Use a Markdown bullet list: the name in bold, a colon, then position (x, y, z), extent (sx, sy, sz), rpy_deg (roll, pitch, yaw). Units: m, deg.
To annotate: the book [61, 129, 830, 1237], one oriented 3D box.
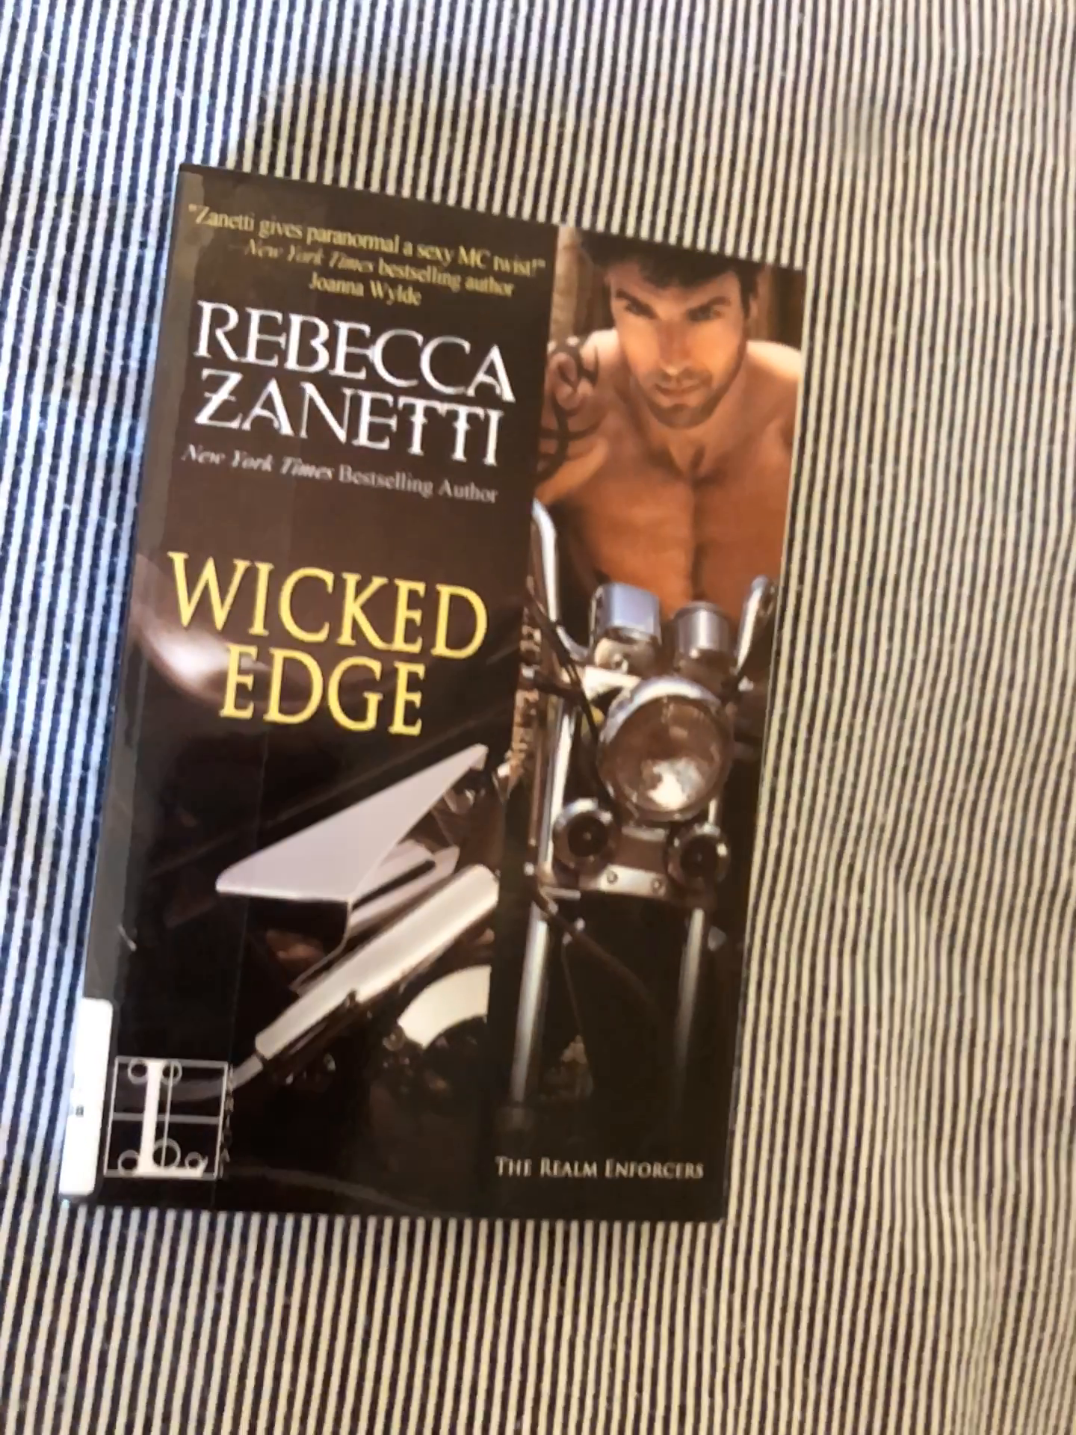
- **book**: position (-0.016, -0.003, 0.265), extent (0.137, 0.030, 0.215), rpy_deg (7, 88, -11)
